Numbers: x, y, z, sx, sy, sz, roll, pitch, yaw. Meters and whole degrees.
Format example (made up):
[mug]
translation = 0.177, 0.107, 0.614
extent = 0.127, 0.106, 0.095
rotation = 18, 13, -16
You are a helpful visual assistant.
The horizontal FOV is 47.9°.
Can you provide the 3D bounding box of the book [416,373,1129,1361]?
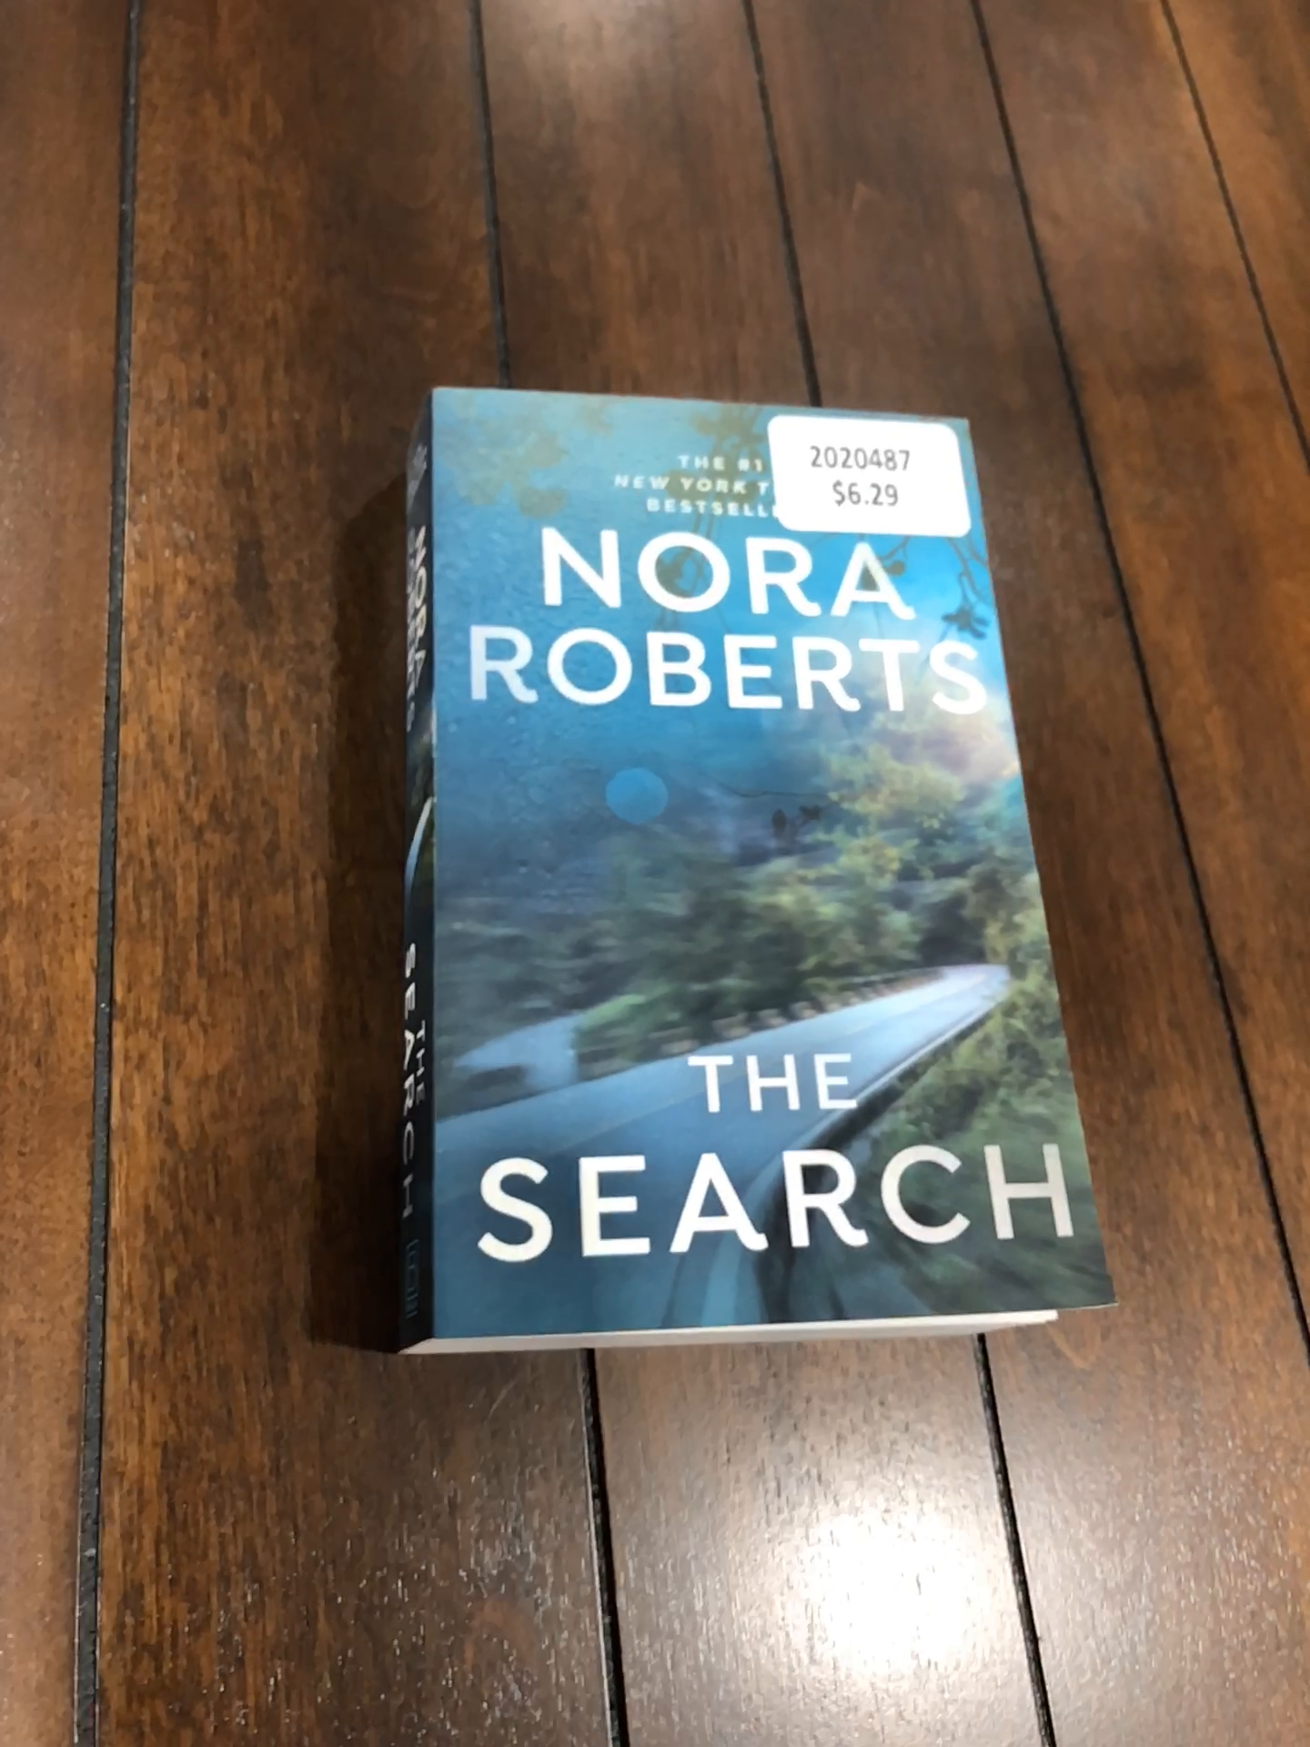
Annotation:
[book]
translation = 0.012, -0.003, 0.273
extent = 0.108, 0.050, 0.170
rotation = 1, 68, -10
